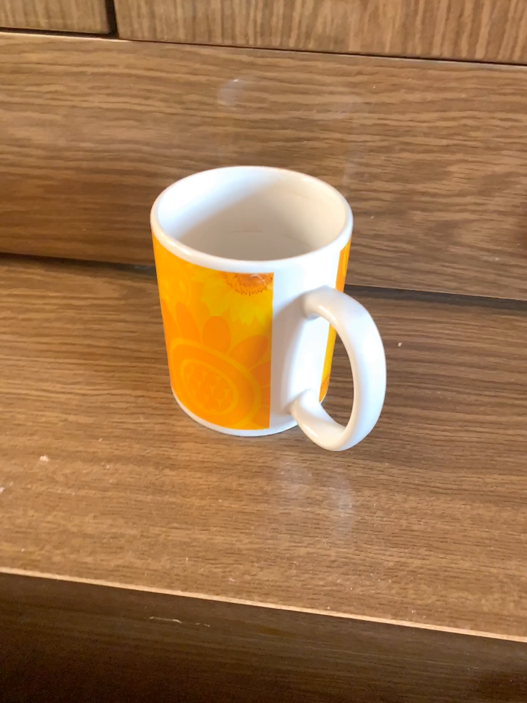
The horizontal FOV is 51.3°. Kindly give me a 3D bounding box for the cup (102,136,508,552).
[{"bbox_3d":[0.007,-0.012,0.231,0.091,0.097,0.124,-23,48,-25],"label":"cup"}]
